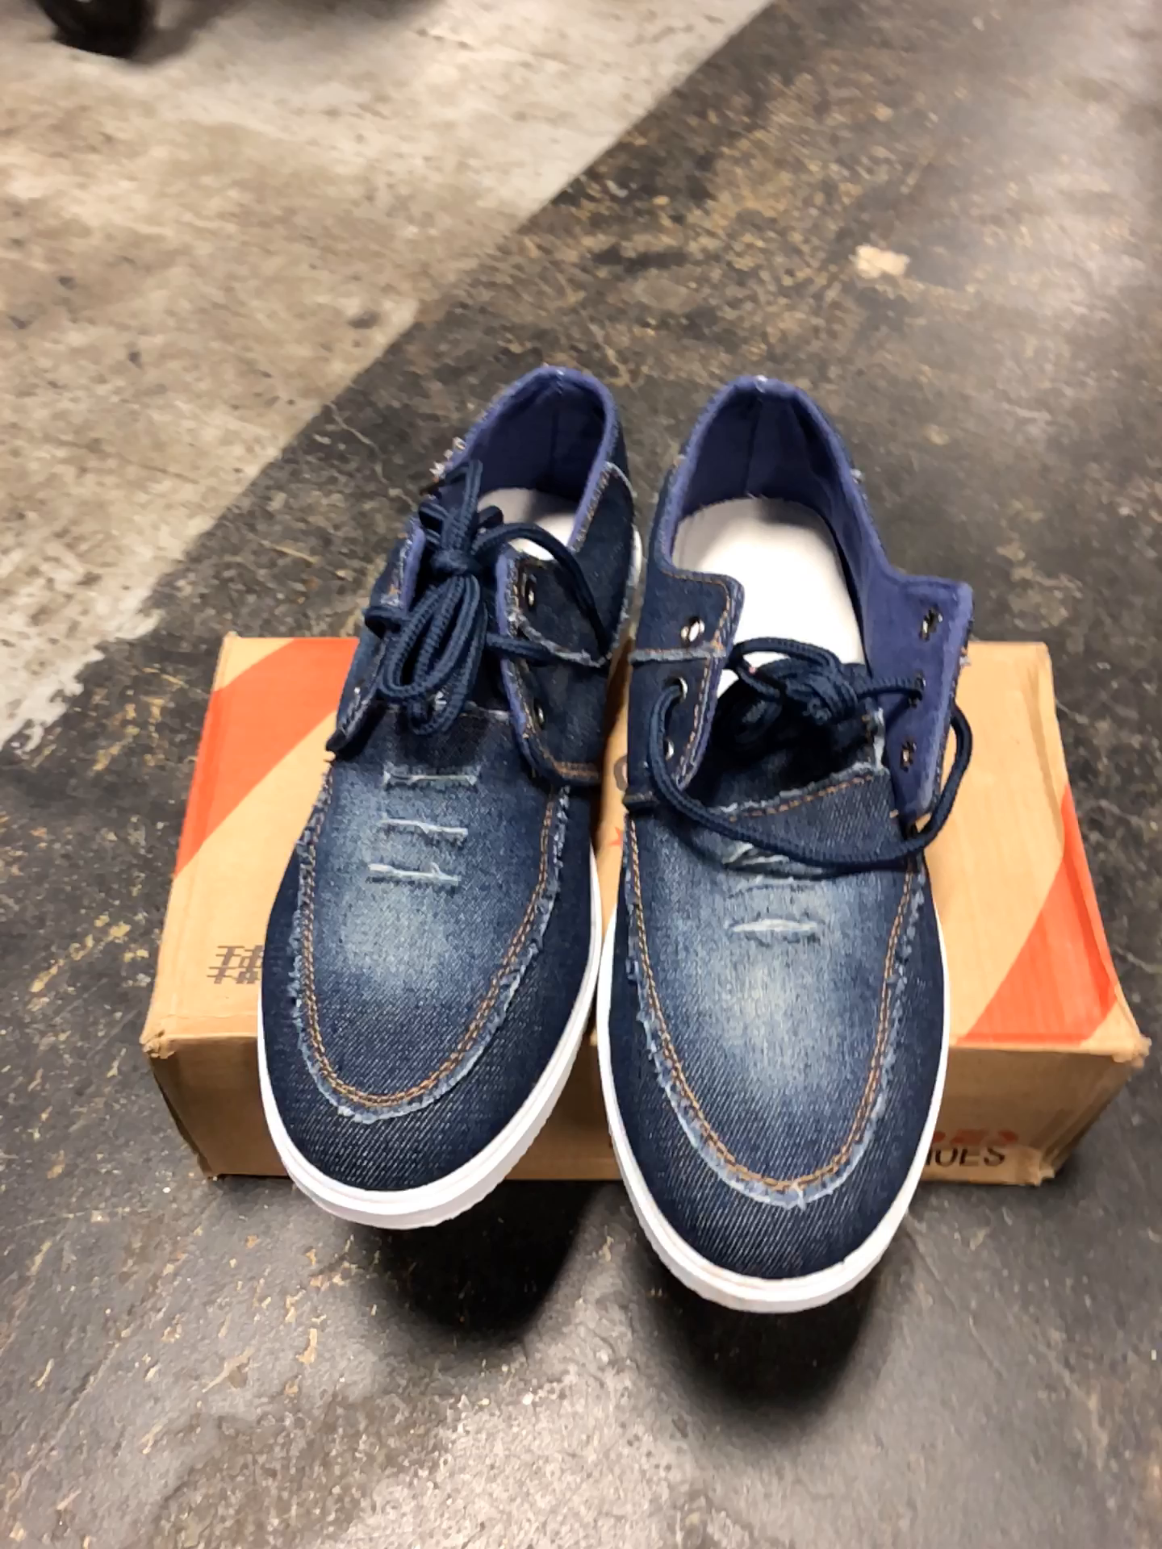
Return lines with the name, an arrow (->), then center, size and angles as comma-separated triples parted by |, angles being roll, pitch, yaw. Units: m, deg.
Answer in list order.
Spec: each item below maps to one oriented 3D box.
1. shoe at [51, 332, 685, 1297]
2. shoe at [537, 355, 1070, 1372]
shoe -> -0.036, -0.006, 0.350 | 0.090, 0.079, 0.252 | 9, 54, 5
shoe -> 0.055, 0.004, 0.354 | 0.100, 0.079, 0.272 | 5, 54, 3
